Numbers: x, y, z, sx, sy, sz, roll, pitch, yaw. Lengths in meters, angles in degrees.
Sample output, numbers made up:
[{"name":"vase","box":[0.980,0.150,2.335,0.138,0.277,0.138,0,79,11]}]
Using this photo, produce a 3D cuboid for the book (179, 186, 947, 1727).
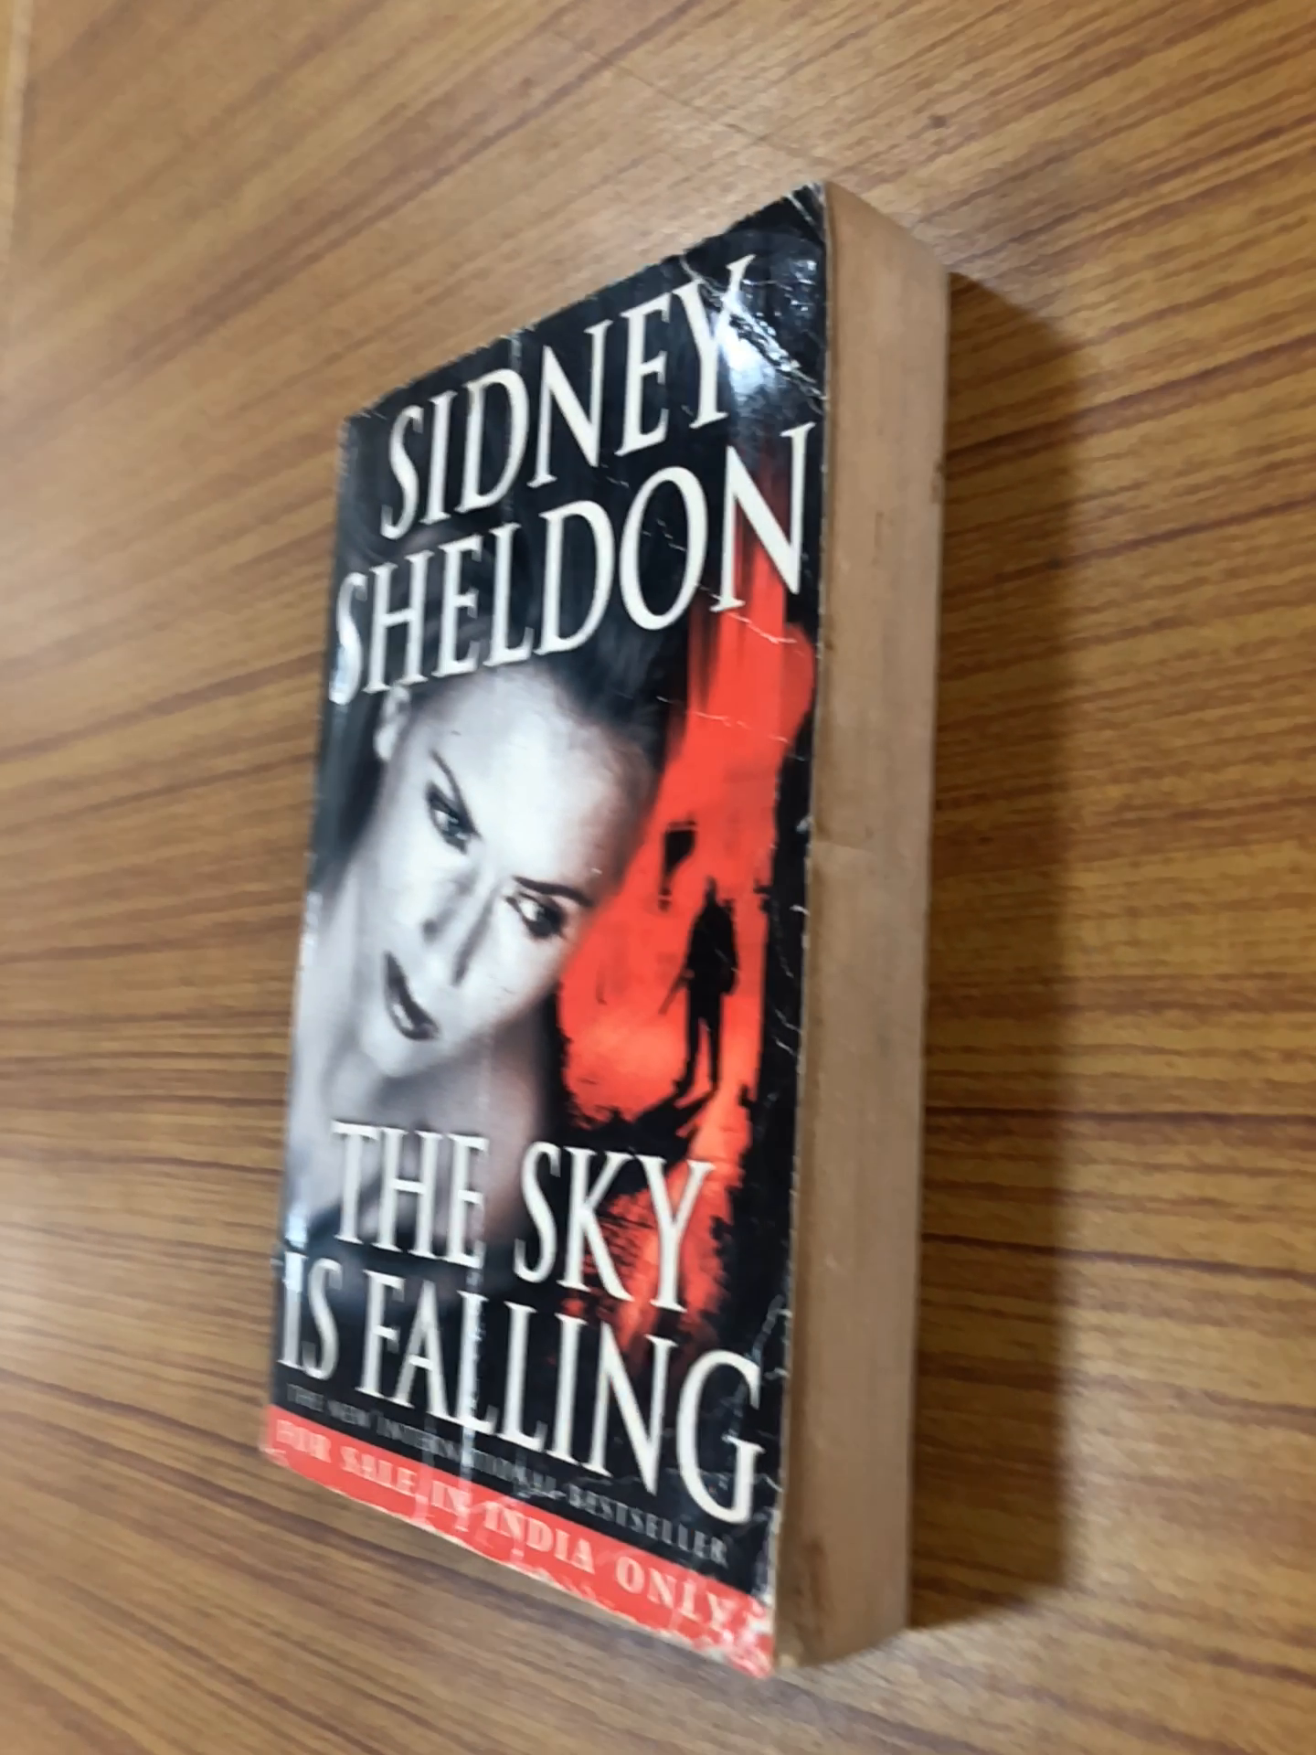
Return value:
[{"name":"book","box":[-0.019,0.008,0.215,0.121,0.030,0.170,-4,81,44]}]
